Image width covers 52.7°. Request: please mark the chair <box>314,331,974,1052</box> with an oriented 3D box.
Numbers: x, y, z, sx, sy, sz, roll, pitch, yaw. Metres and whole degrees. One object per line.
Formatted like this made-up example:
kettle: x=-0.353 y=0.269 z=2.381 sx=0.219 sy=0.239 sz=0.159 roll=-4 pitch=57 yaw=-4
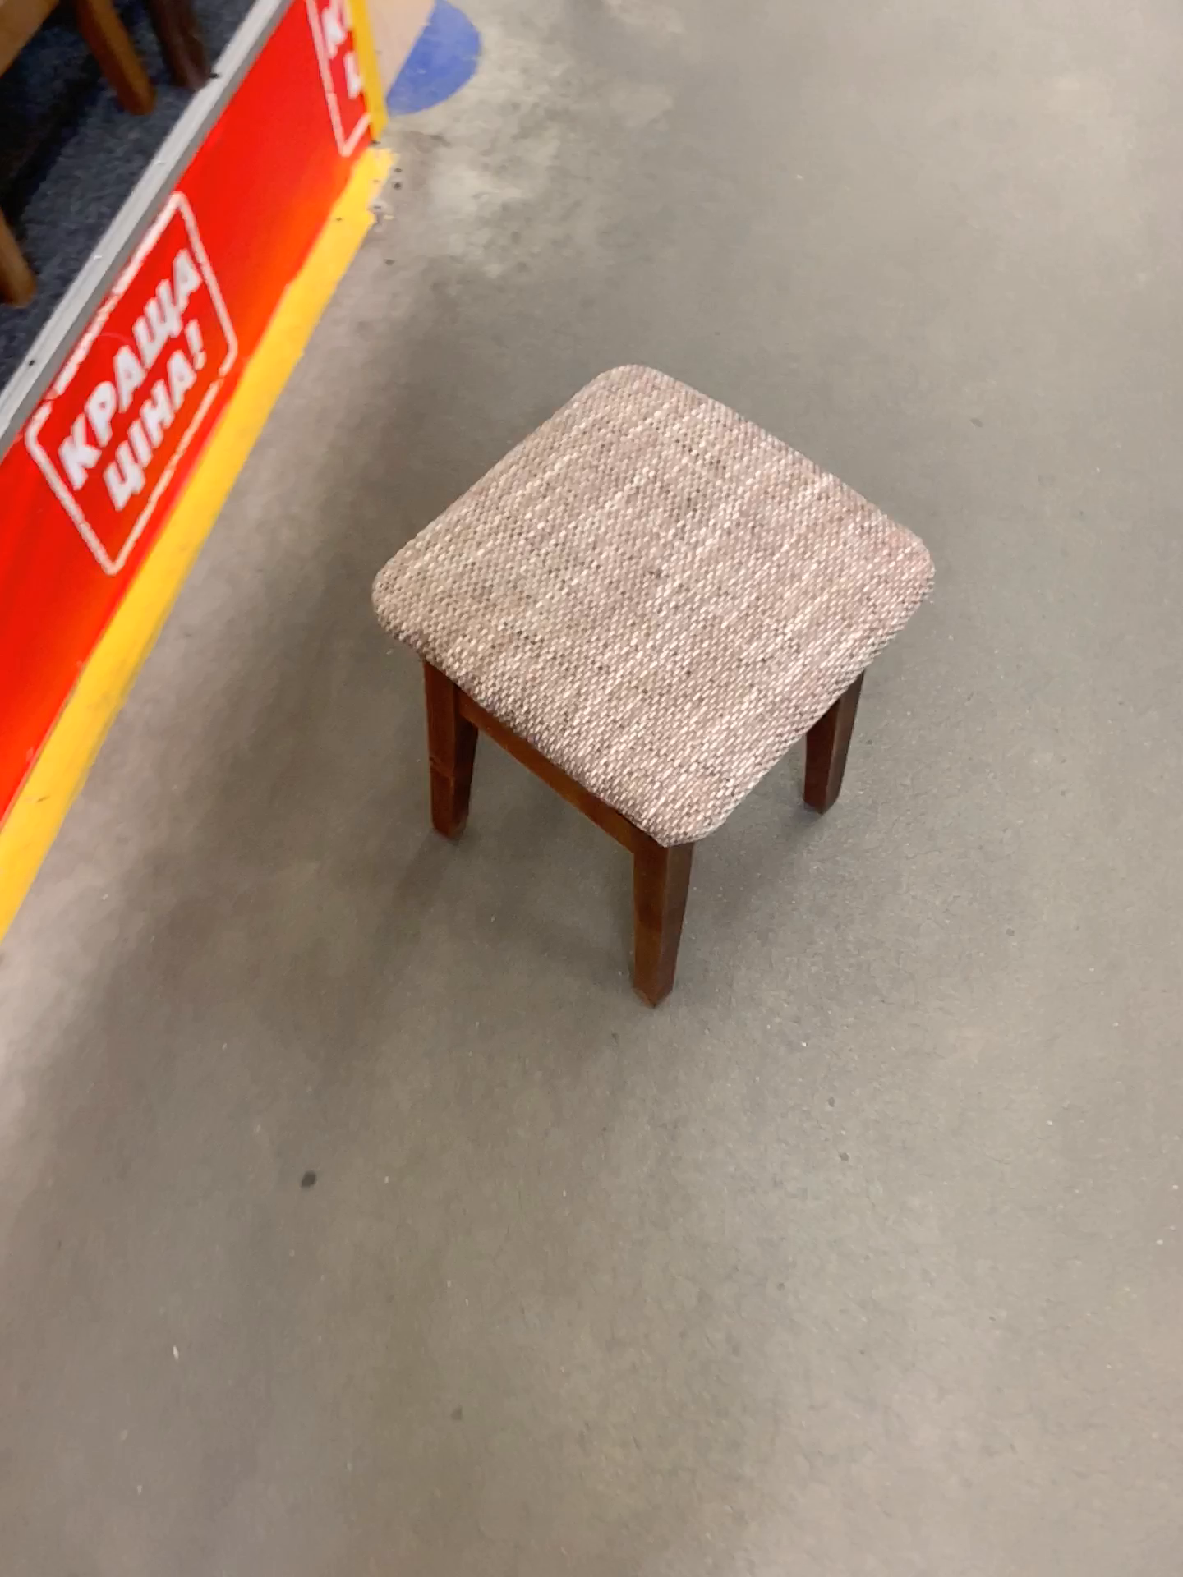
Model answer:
chair: x=0.042 y=-0.058 z=1.109 sx=0.360 sy=0.479 sz=0.340 roll=37 pitch=70 yaw=17
